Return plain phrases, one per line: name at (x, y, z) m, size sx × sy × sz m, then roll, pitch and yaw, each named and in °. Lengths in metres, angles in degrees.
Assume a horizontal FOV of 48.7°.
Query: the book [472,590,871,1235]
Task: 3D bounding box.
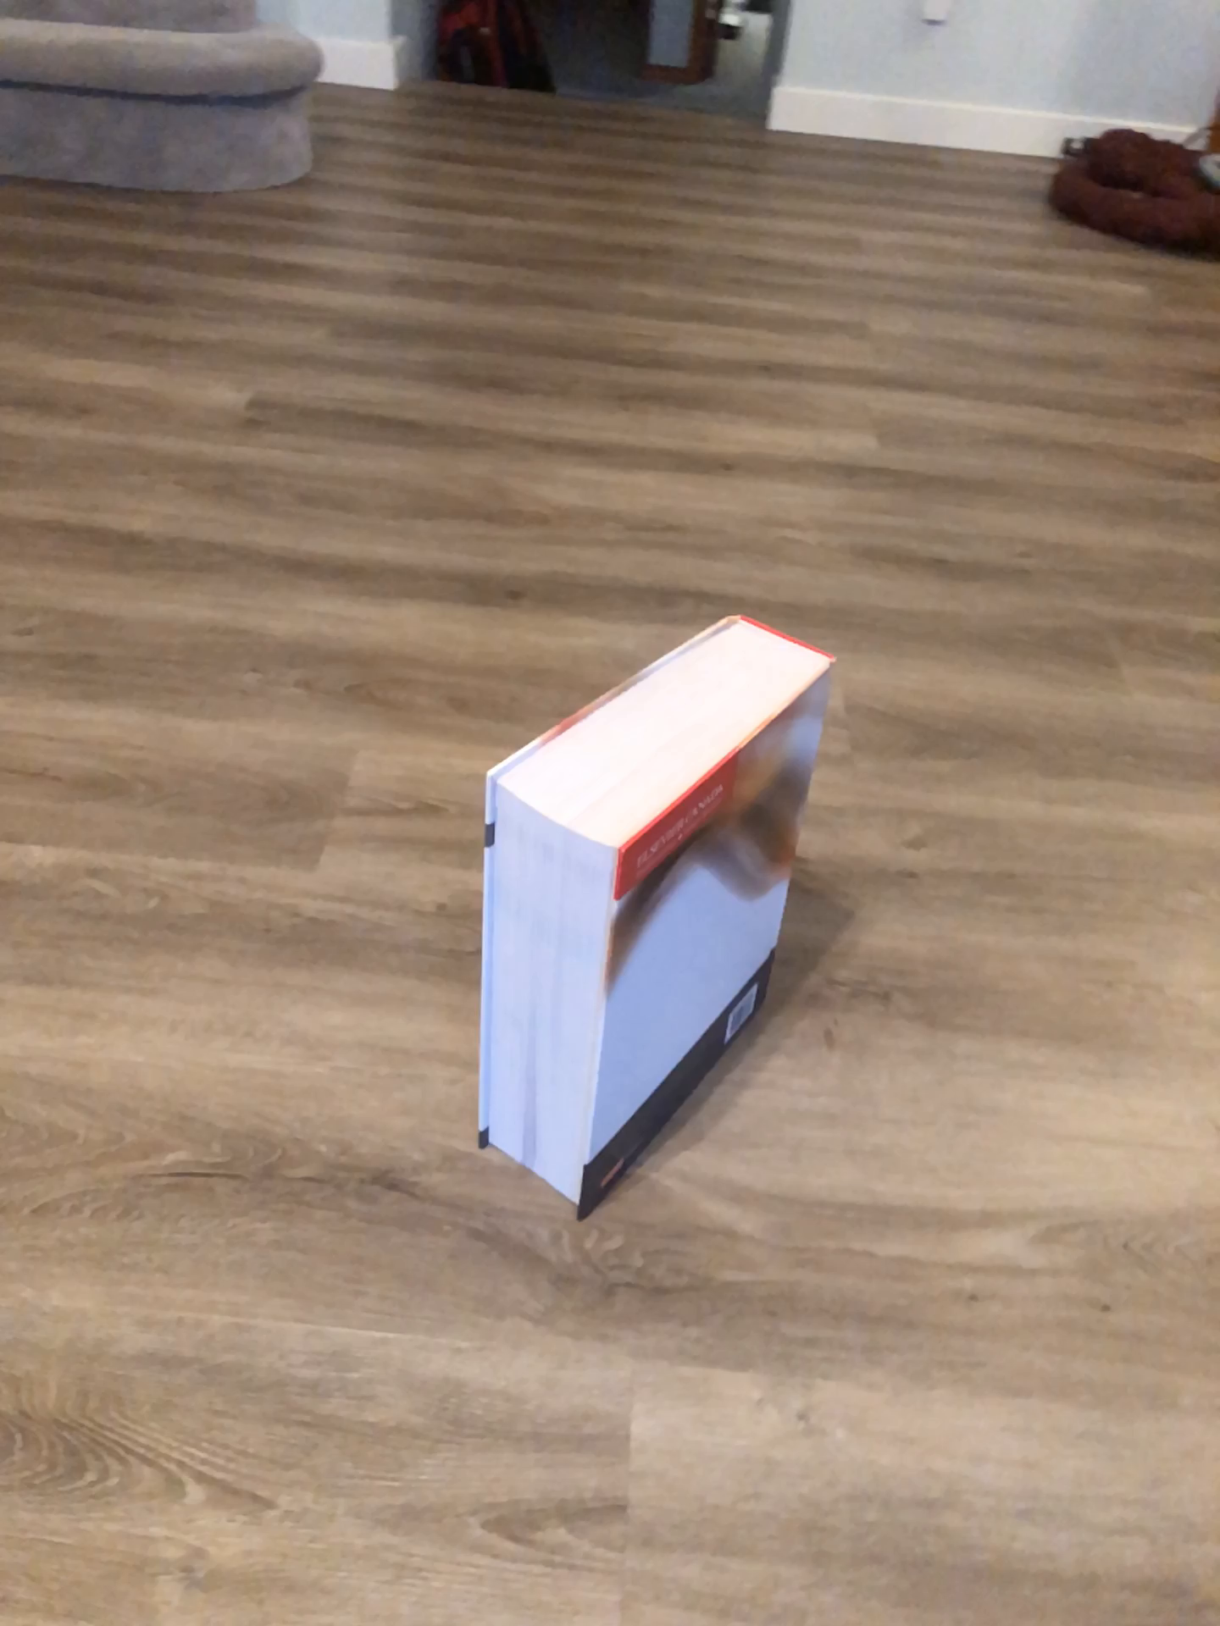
book at (0.032, 0.055, 0.787) m, size 0.087 × 0.290 × 0.240 m, roll 26°, pitch 42°, yaw 27°
